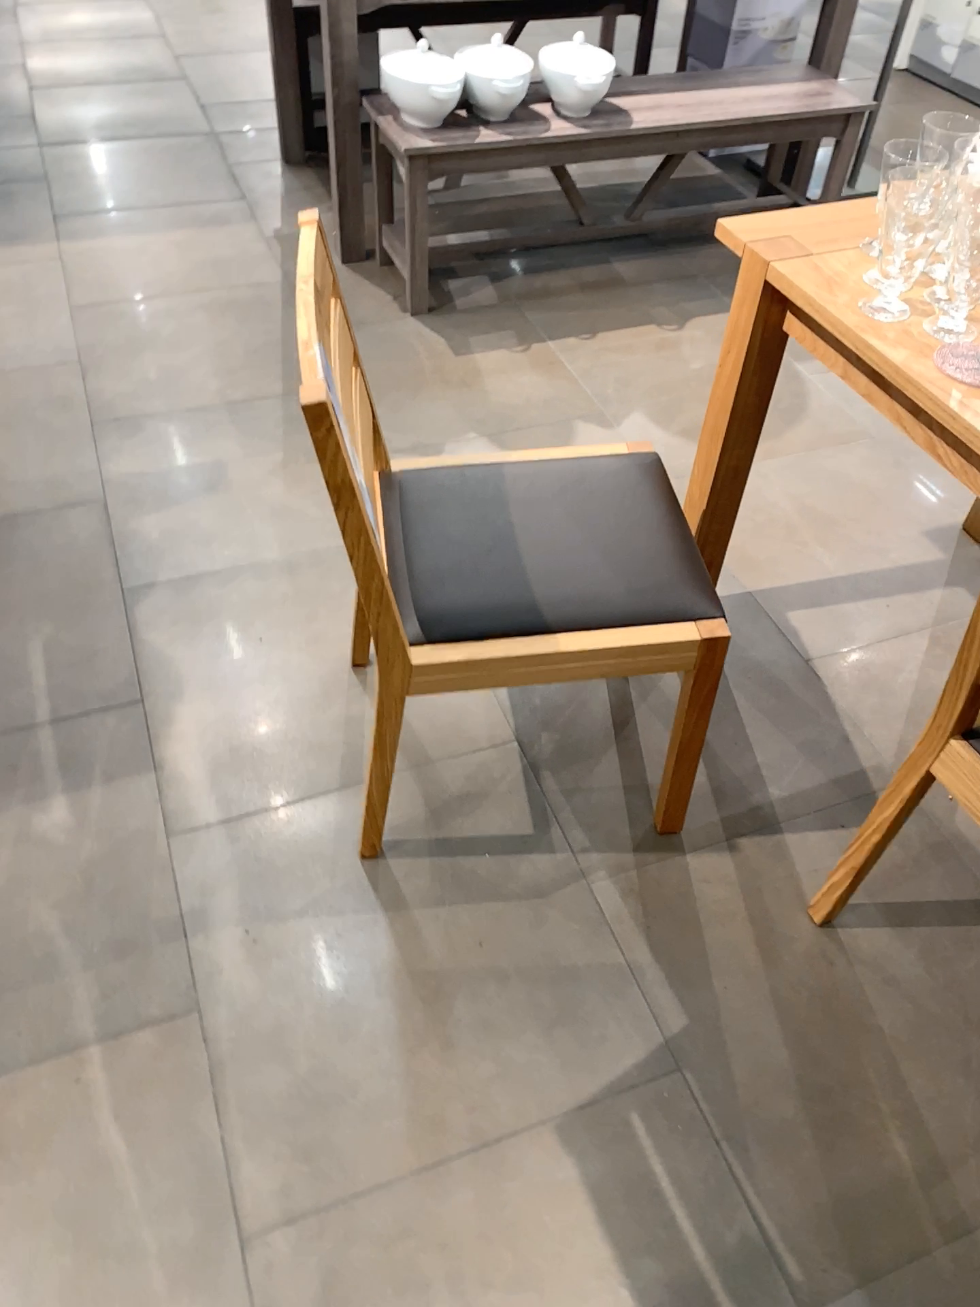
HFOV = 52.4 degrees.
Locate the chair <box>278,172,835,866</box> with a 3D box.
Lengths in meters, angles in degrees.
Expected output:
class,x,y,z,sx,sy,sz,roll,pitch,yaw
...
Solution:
class,x,y,z,sx,sy,sz,roll,pitch,yaw
chair,0.019,-0.179,1.474,0.563,0.815,0.568,-4,46,-7
